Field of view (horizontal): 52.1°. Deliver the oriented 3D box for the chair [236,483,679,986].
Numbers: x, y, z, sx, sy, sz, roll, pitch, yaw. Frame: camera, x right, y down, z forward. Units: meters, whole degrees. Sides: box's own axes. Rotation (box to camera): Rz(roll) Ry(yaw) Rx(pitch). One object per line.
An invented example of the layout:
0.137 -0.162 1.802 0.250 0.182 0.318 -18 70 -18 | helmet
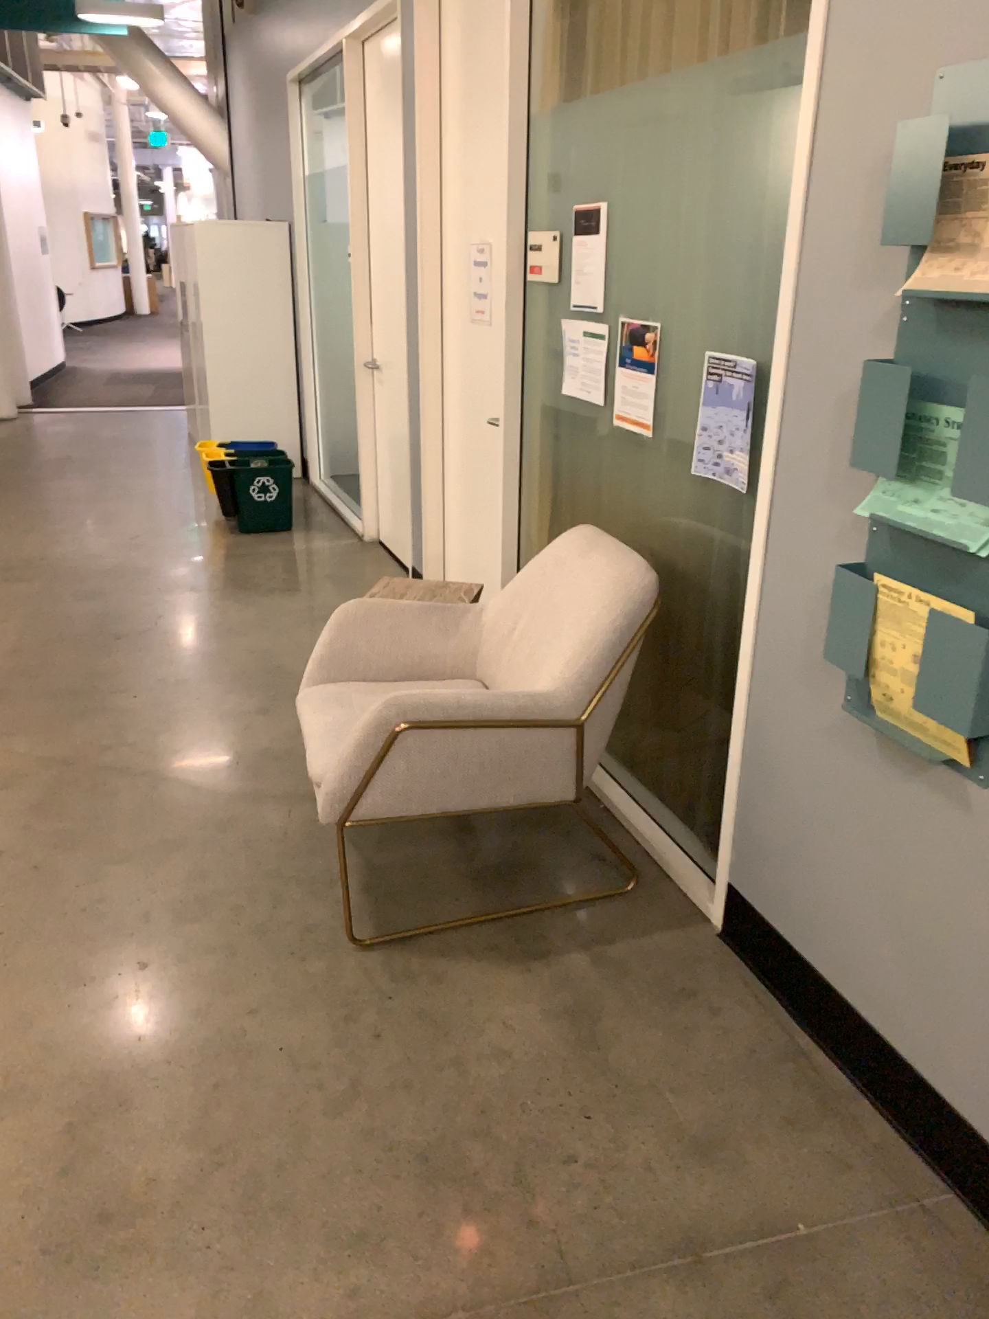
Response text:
-0.142 0.115 2.578 0.870 0.925 0.784 -6 23 -17 | chair
